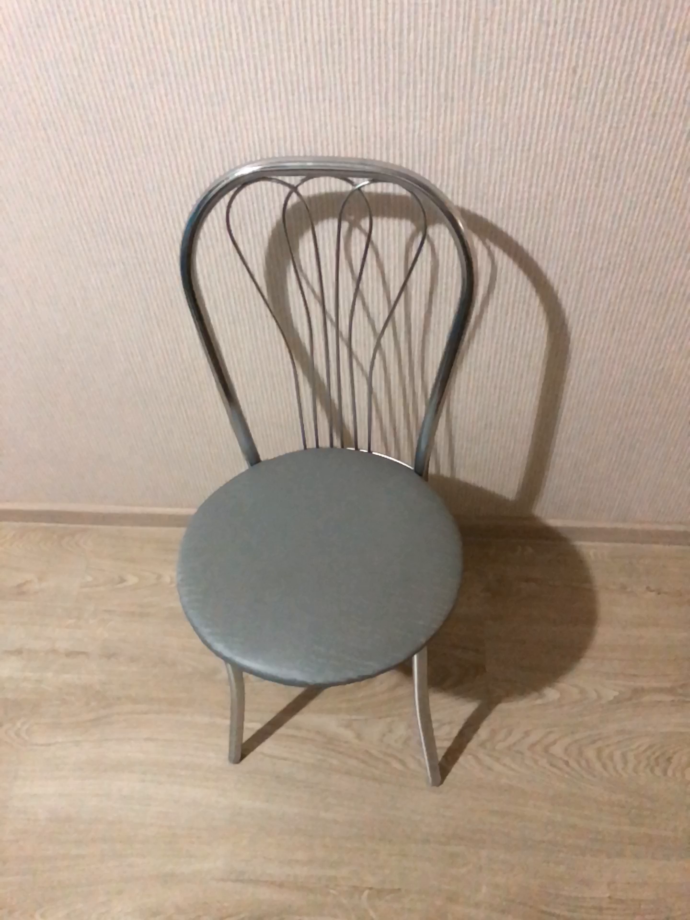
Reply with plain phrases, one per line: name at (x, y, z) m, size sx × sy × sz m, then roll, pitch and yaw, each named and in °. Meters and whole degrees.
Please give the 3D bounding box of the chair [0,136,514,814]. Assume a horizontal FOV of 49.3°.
chair at (-0.024, 0.080, 1.022) m, size 0.400 × 0.825 × 0.473 m, roll 5°, pitch 50°, yaw 8°
